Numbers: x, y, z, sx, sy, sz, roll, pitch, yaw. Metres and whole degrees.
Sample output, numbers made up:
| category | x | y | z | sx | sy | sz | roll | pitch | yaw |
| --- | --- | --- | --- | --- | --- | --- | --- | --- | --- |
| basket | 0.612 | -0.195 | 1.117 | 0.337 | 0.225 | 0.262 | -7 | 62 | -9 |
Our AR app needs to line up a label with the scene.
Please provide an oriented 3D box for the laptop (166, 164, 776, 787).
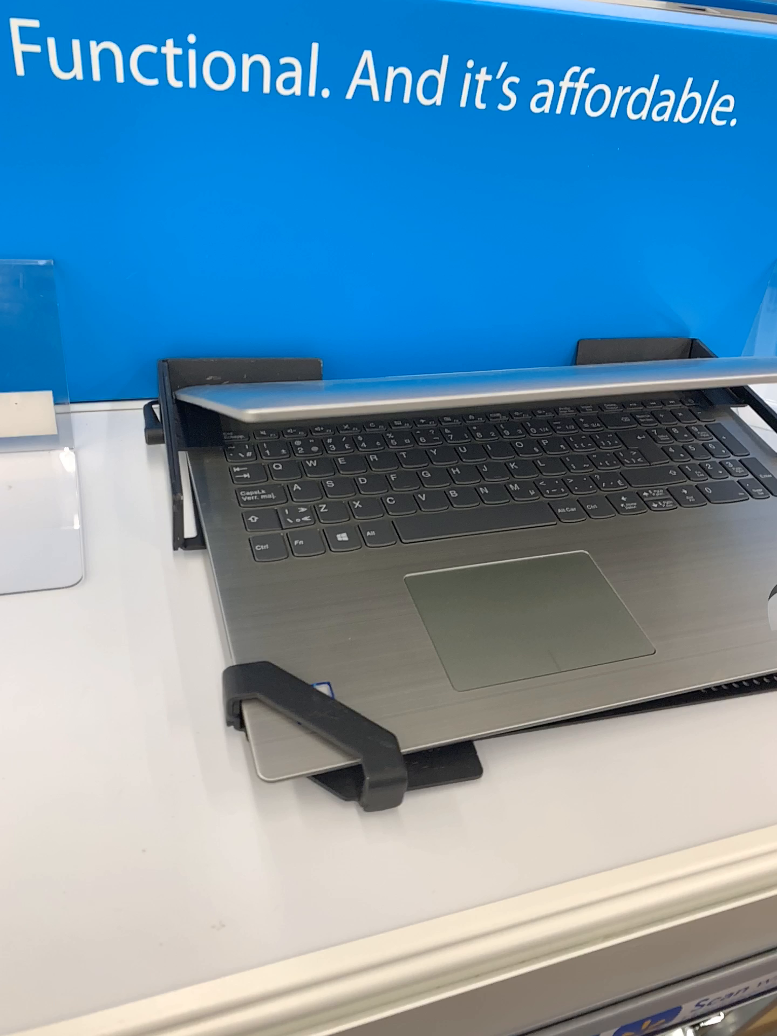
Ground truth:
| category | x | y | z | sx | sy | sz | roll | pitch | yaw |
| --- | --- | --- | --- | --- | --- | --- | --- | --- | --- |
| laptop | 0.084 | -0.049 | 0.354 | 0.327 | 0.115 | 0.230 | -6 | 43 | -19 |
